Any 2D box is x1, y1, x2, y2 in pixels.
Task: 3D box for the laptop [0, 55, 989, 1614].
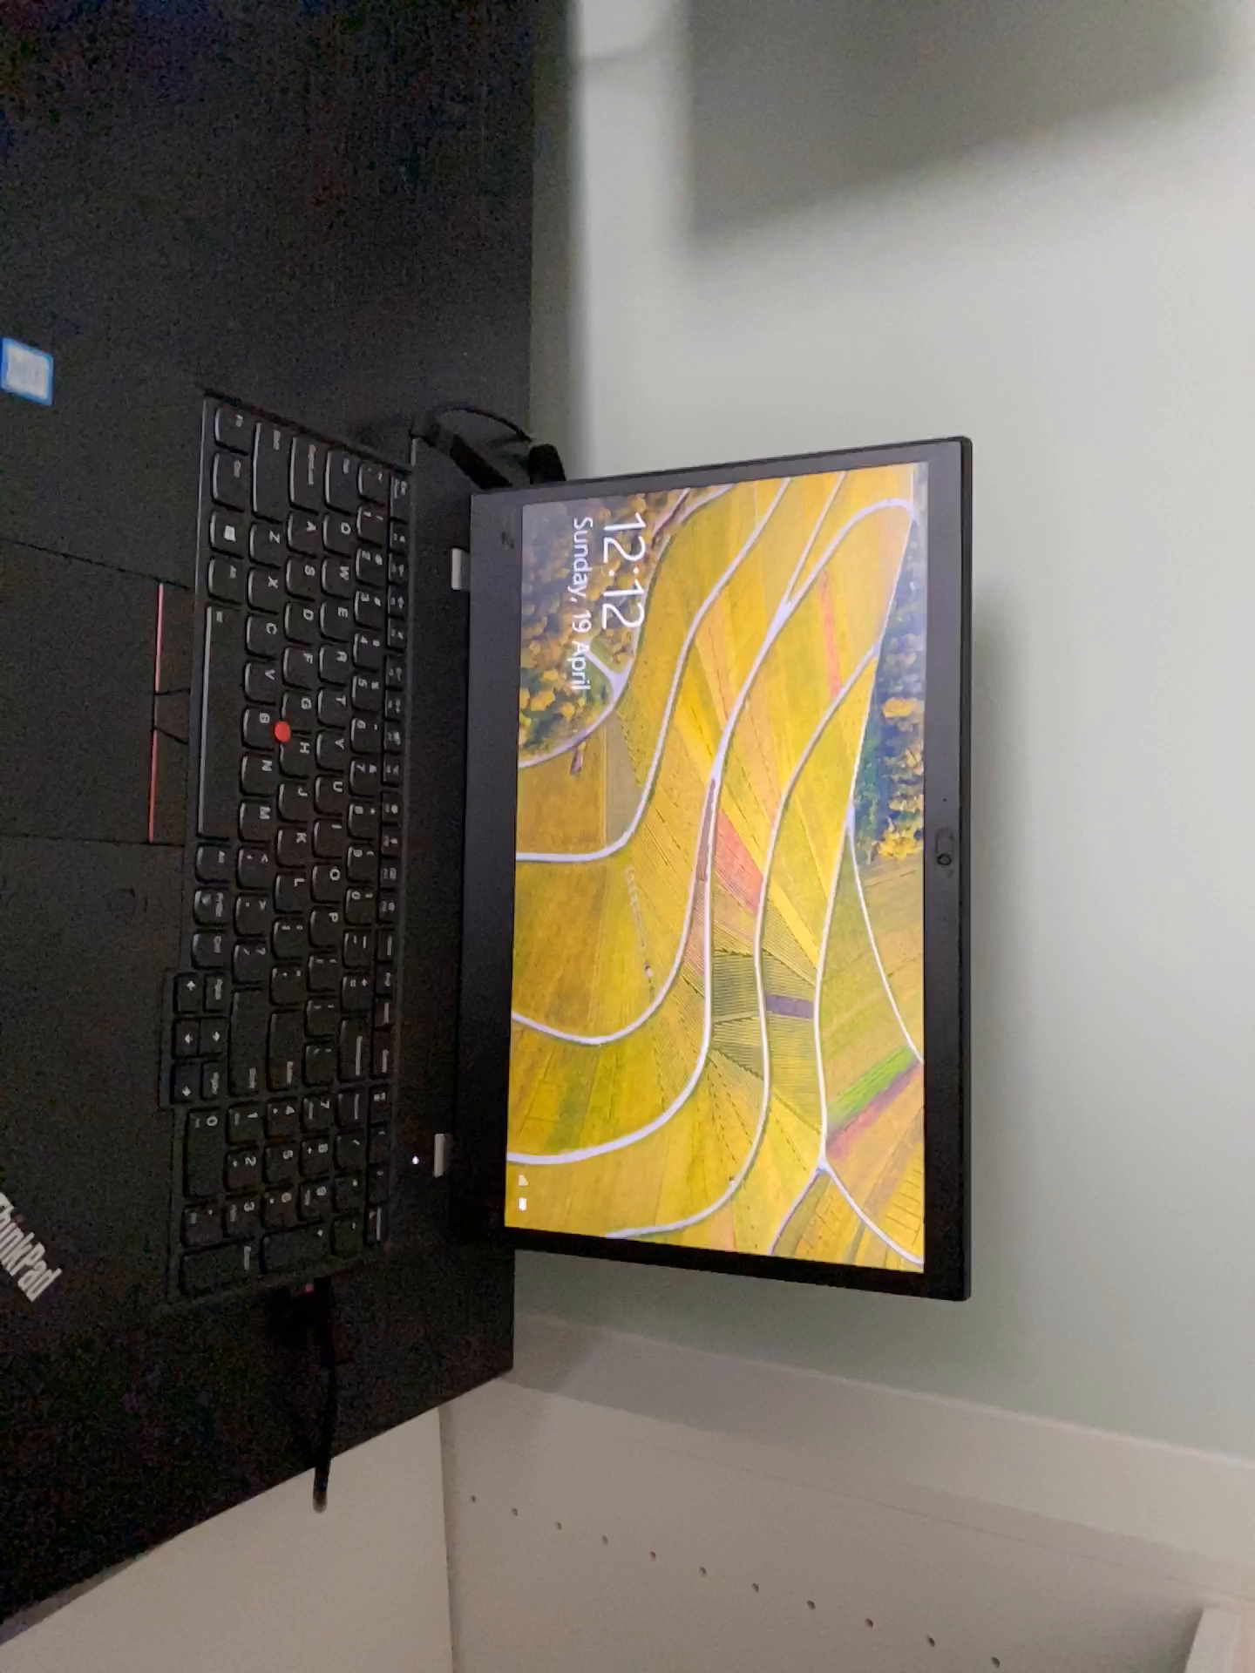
[{"bbox_3d":[-0.036,0.005,0.468,0.295,0.231,0.351,8,82,-56],"label":"laptop"}]
